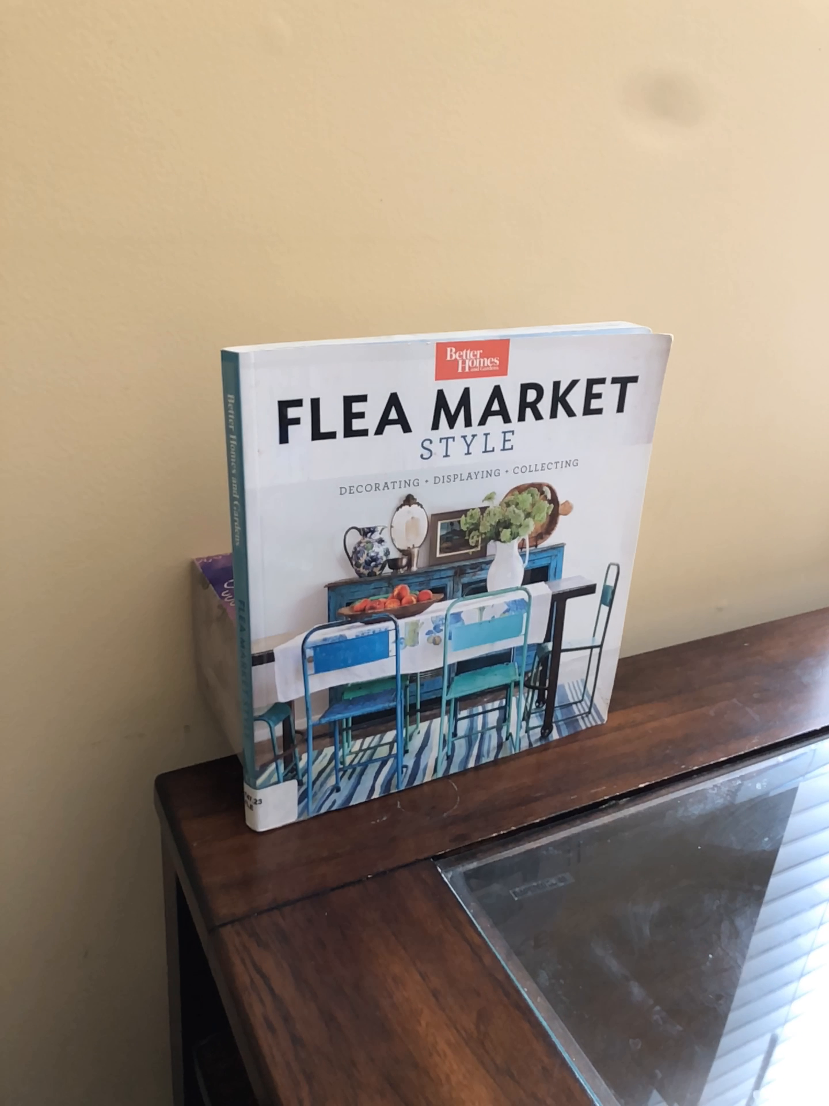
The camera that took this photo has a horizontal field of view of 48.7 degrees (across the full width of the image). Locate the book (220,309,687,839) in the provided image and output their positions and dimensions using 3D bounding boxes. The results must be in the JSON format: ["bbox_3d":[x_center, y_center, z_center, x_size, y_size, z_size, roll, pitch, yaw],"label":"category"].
[{"bbox_3d":[0.023,0.005,0.468,0.233,0.239,0.032,-11,28,-29],"label":"book"}]
